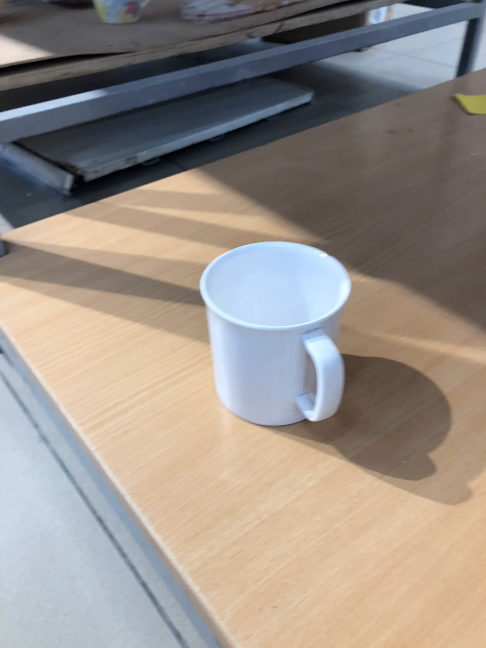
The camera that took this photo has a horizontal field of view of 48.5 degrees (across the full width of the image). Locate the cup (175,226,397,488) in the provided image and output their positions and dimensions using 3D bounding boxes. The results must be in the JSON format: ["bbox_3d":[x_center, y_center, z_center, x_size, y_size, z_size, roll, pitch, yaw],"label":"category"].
[{"bbox_3d":[0.019,0.014,0.325,0.080,0.089,0.110,-17,42,-17],"label":"cup"}]
